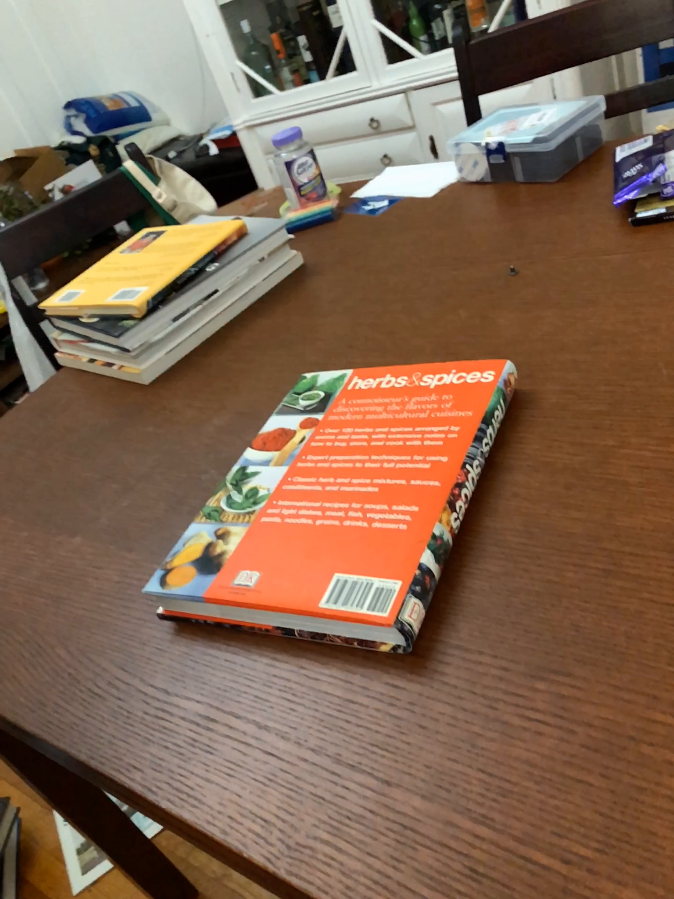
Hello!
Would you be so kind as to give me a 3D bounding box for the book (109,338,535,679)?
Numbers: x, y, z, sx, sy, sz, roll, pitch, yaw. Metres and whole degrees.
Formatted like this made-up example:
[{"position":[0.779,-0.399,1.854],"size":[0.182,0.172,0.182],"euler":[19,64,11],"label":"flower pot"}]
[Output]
[{"position":[0.001,0.019,0.529],"size":[0.210,0.040,0.271],"euler":[0,40,32],"label":"book"}]
